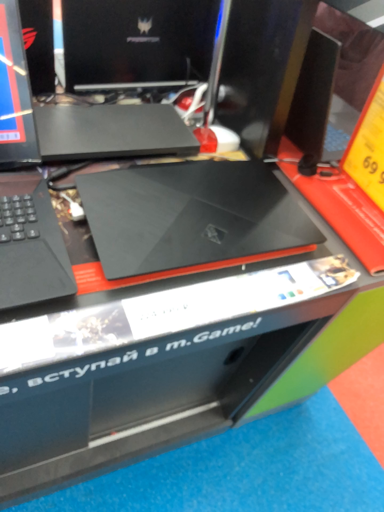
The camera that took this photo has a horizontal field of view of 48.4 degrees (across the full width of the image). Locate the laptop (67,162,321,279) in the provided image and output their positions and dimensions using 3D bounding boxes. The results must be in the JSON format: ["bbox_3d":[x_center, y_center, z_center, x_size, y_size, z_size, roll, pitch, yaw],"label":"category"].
[{"bbox_3d":[0.000,-0.086,0.783,0.398,0.002,0.262,-10,47,-21],"label":"laptop"}]
